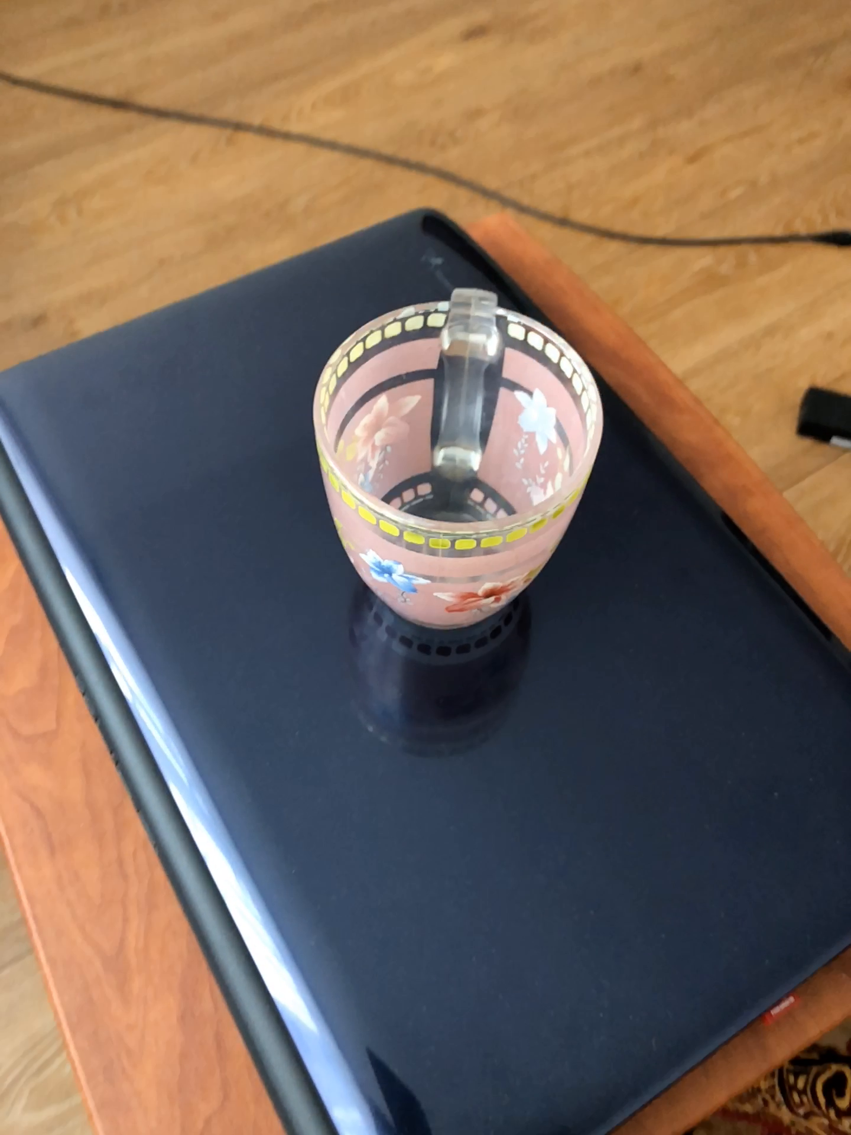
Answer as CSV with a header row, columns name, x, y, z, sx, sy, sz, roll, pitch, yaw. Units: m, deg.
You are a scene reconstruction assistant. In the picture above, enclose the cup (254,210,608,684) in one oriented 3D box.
name,x,y,z,sx,sy,sz,roll,pitch,yaw
cup,0.007,-0.041,0.322,0.095,0.081,0.131,5,60,3
